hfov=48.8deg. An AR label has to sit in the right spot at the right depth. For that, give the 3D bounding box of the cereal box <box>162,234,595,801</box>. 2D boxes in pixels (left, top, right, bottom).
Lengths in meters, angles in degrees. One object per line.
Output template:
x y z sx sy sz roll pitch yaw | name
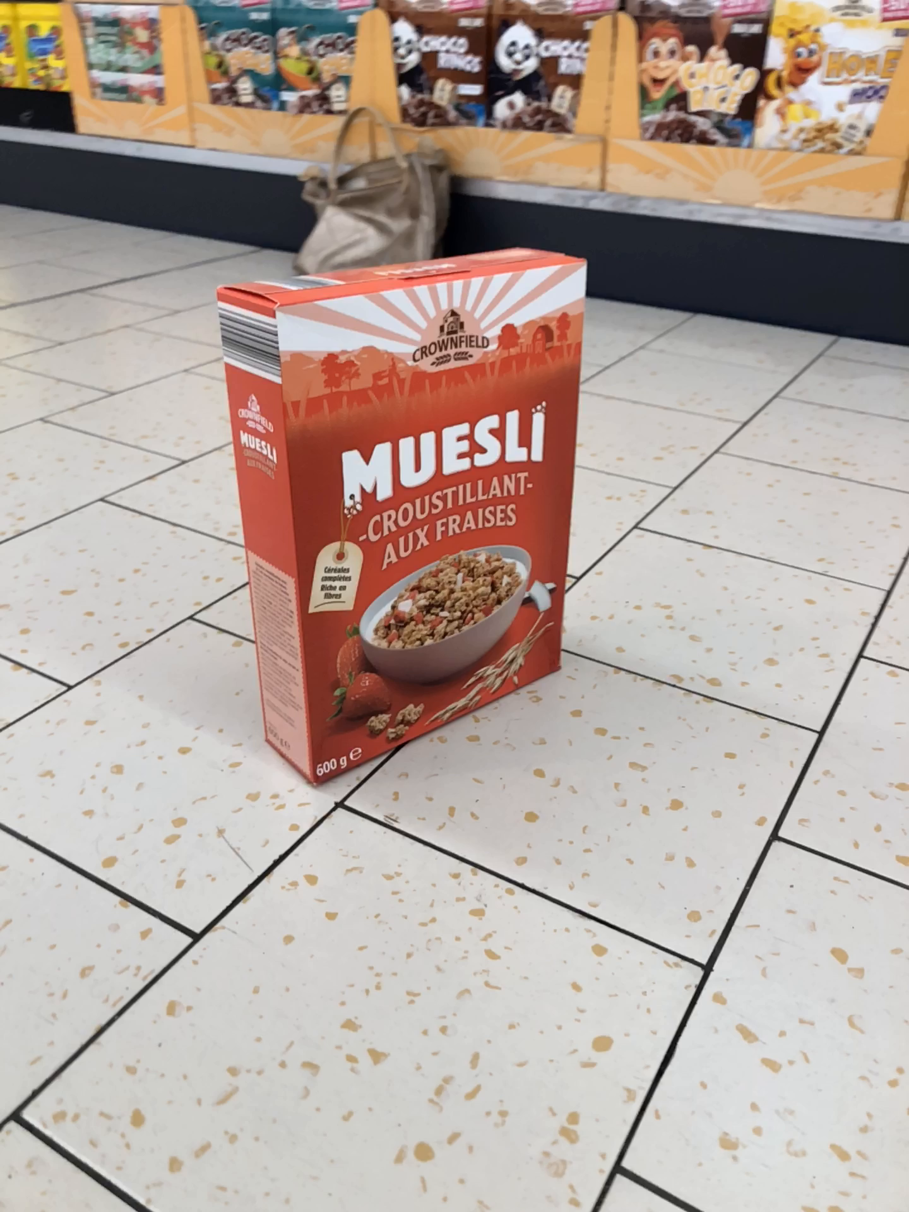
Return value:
-0.030 -0.054 0.530 0.201 0.249 0.070 -20 34 -34 | cereal box
